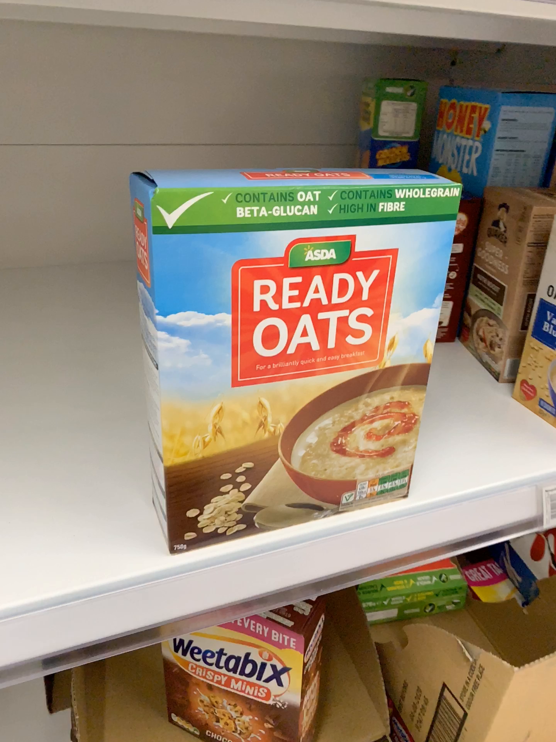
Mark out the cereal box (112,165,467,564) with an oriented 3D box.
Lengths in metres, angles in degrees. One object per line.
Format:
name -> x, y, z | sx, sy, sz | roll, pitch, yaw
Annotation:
cereal box -> 0.003, -0.007, 0.414 | 0.210, 0.258, 0.070 | -8, 29, -20
